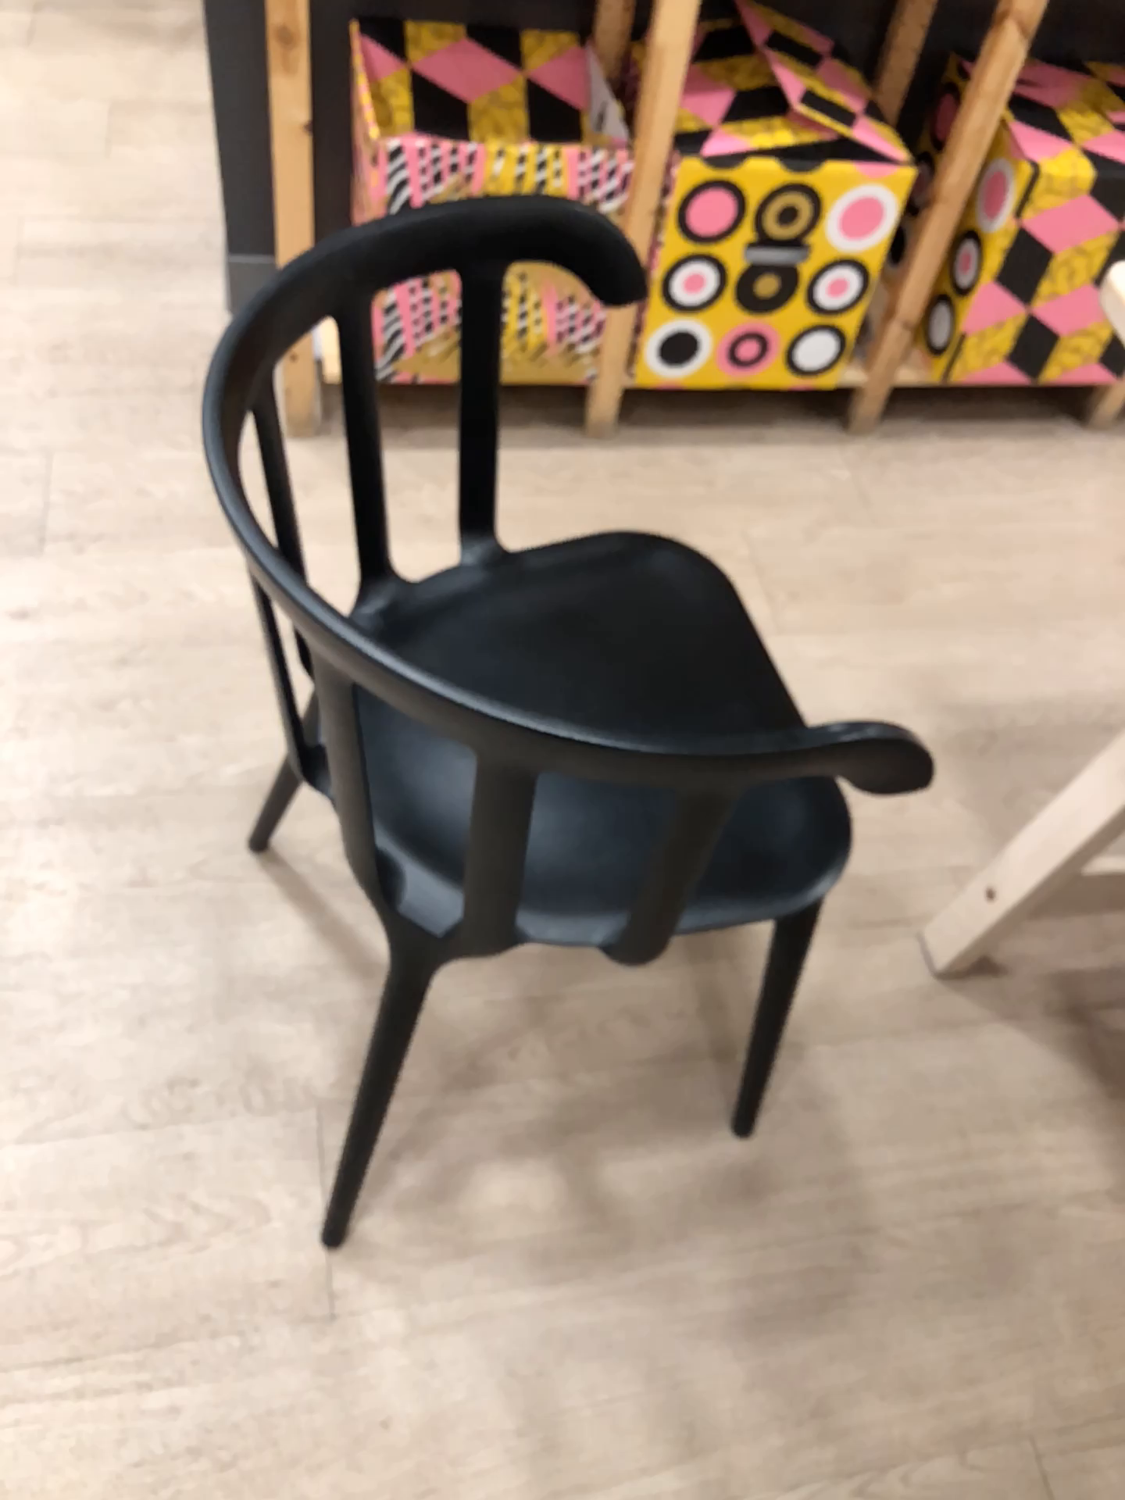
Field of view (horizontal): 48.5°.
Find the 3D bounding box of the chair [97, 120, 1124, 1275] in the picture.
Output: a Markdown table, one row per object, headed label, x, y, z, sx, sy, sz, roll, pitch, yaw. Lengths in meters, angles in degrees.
| label | x | y | z | sx | sy | sz | roll | pitch | yaw |
| --- | --- | --- | --- | --- | --- | --- | --- | --- | --- |
| chair | -0.013 | -0.019 | 0.992 | 0.530 | 0.686 | 0.533 | -9 | 55 | -16 |
